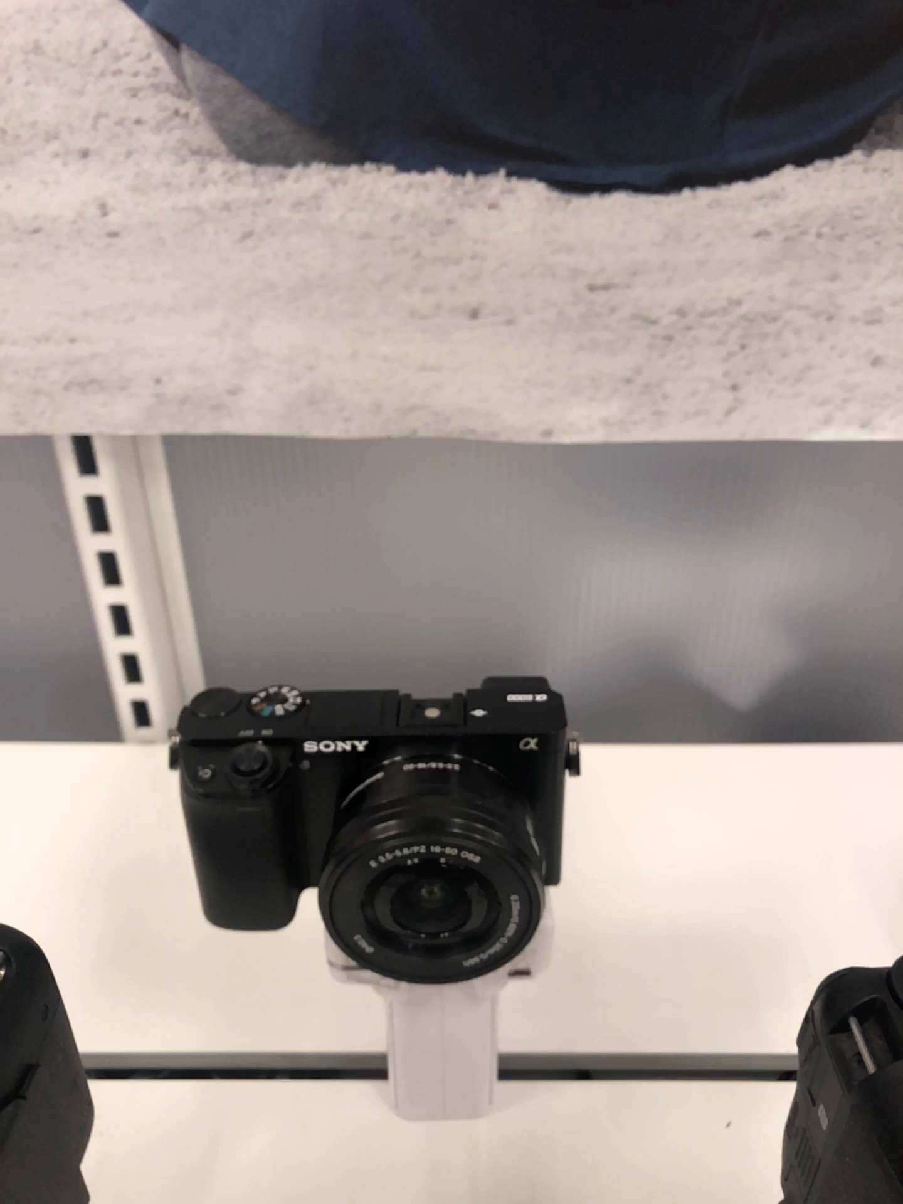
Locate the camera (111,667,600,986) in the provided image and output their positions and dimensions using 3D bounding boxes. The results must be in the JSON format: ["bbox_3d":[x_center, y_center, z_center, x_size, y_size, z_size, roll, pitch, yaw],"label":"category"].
[{"bbox_3d":[-0.024,0.063,0.293,0.120,0.058,0.068,0,32,-1],"label":"camera"}]
